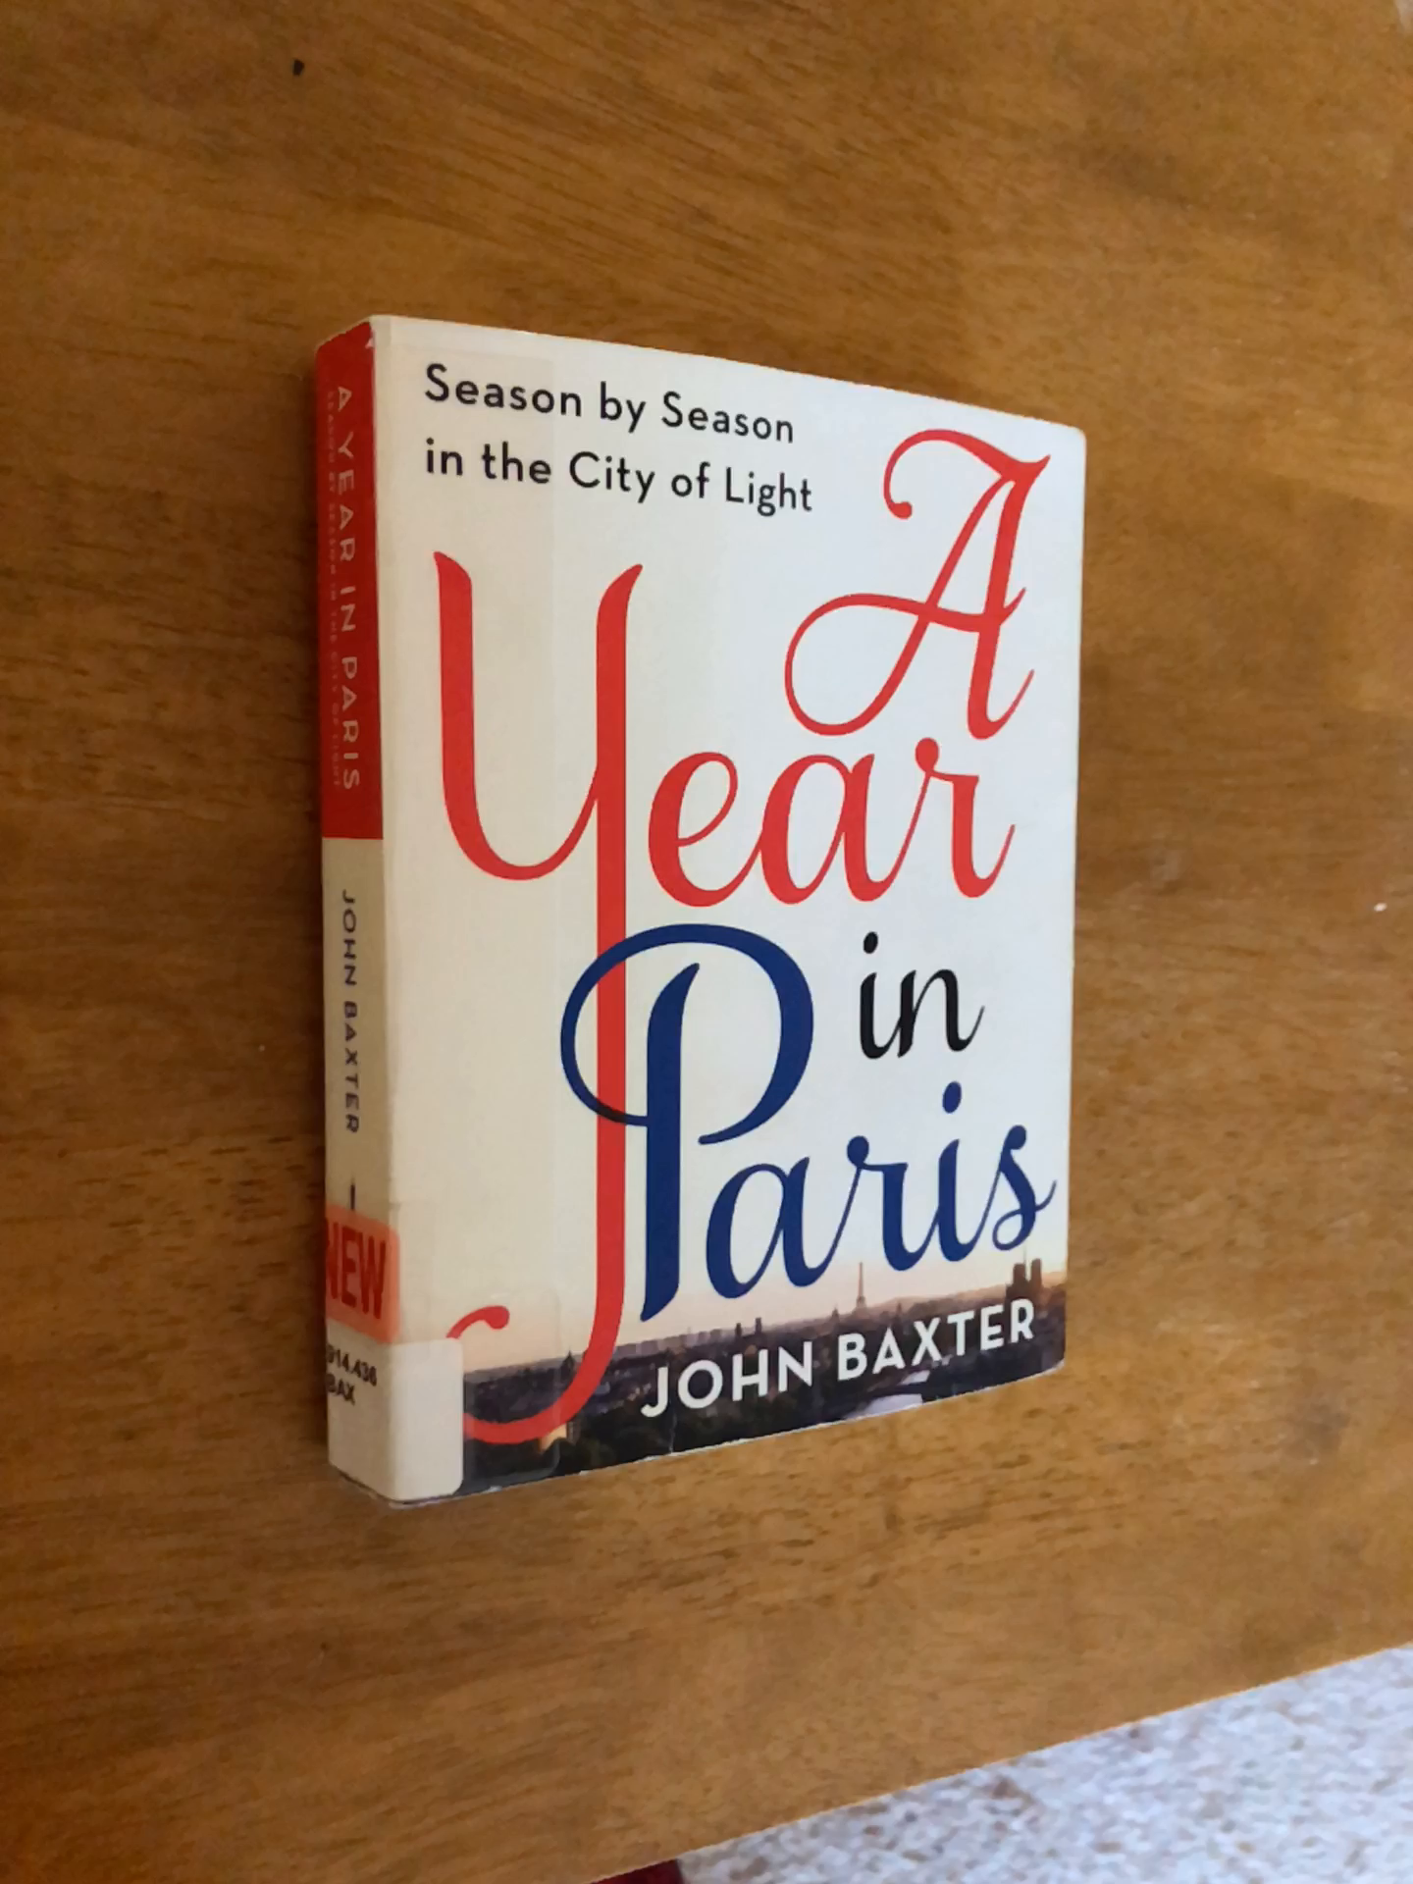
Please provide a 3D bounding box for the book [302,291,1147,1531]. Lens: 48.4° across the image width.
[{"bbox_3d":[0.008,-0.005,0.285,0.151,0.040,0.182,-2,96,-30],"label":"book"}]
